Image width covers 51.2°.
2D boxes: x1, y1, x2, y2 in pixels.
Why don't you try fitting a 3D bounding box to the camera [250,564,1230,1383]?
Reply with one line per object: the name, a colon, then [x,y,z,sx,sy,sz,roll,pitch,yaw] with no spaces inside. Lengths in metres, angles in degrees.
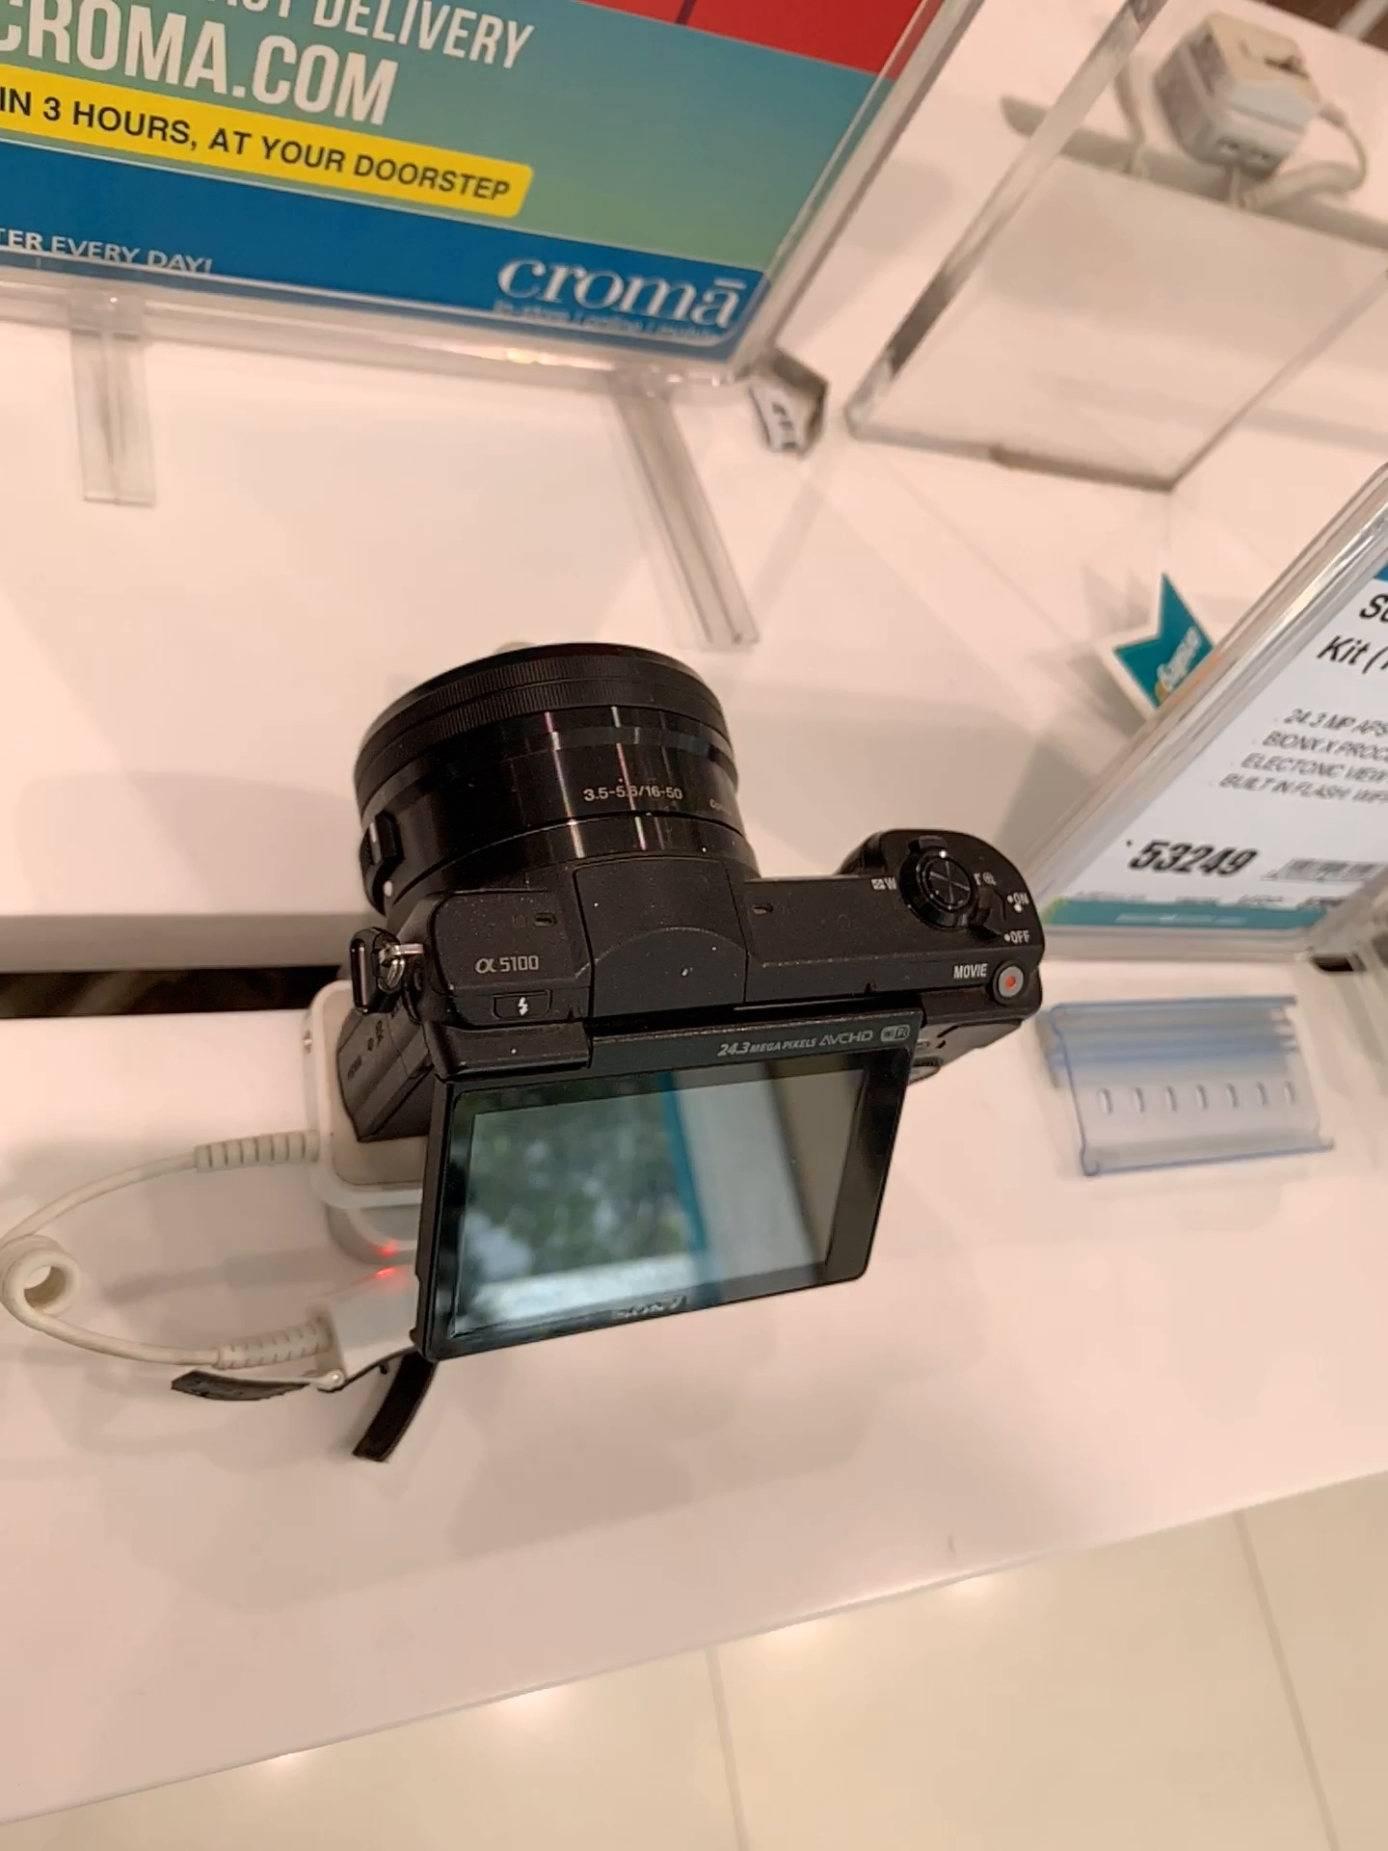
camera: [-0.001,0.010,0.224,0.111,0.082,0.088,-2,67,-28]
